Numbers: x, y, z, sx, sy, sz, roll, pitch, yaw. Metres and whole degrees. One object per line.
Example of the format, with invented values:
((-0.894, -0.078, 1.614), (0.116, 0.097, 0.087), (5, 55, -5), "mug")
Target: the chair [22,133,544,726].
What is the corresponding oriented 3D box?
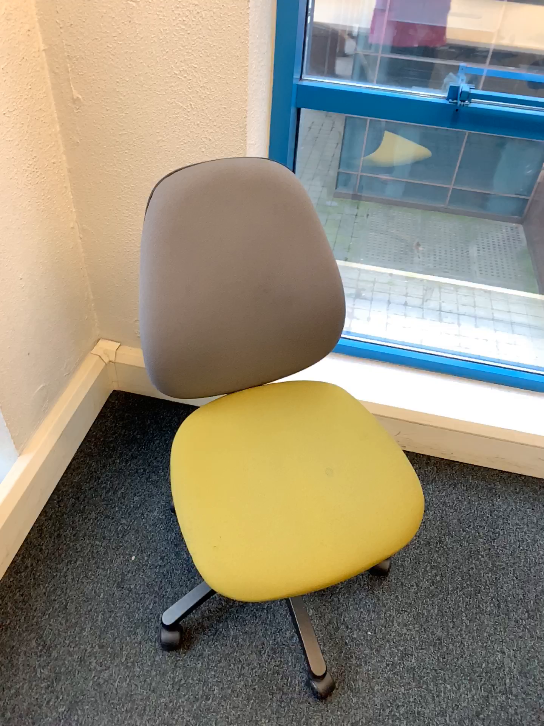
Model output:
((0.029, 0.157, 1.069), (0.693, 0.877, 0.683), (-15, 46, -20), "chair")
